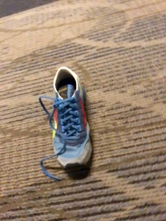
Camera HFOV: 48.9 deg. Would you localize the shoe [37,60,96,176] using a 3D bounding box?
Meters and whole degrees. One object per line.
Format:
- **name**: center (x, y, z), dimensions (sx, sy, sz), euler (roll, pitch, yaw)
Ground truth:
- **shoe**: center (-0.038, 0.012, 0.454), dimensions (0.101, 0.095, 0.260), euler (-9, 59, 8)
